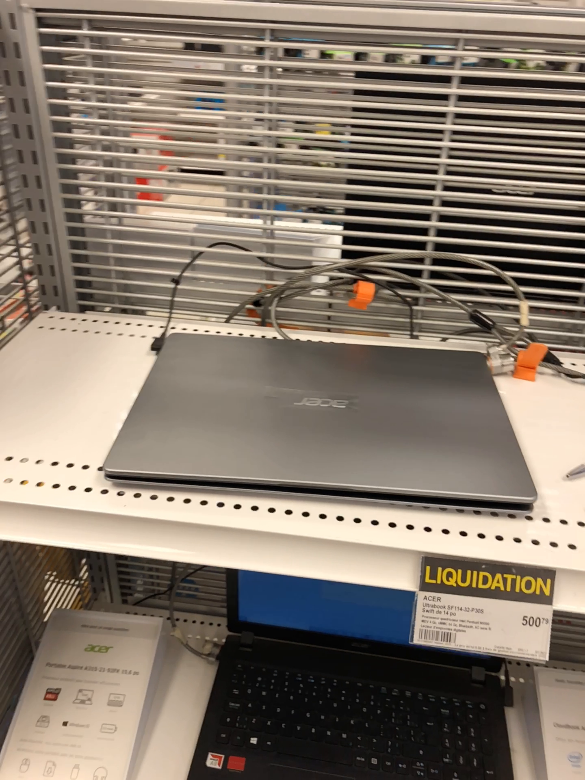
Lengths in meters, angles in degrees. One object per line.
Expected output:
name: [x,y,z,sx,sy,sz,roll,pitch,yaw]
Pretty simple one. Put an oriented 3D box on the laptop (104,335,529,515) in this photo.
laptop: [0.024,0.018,0.573,0.316,0.006,0.220,4,34,3]
